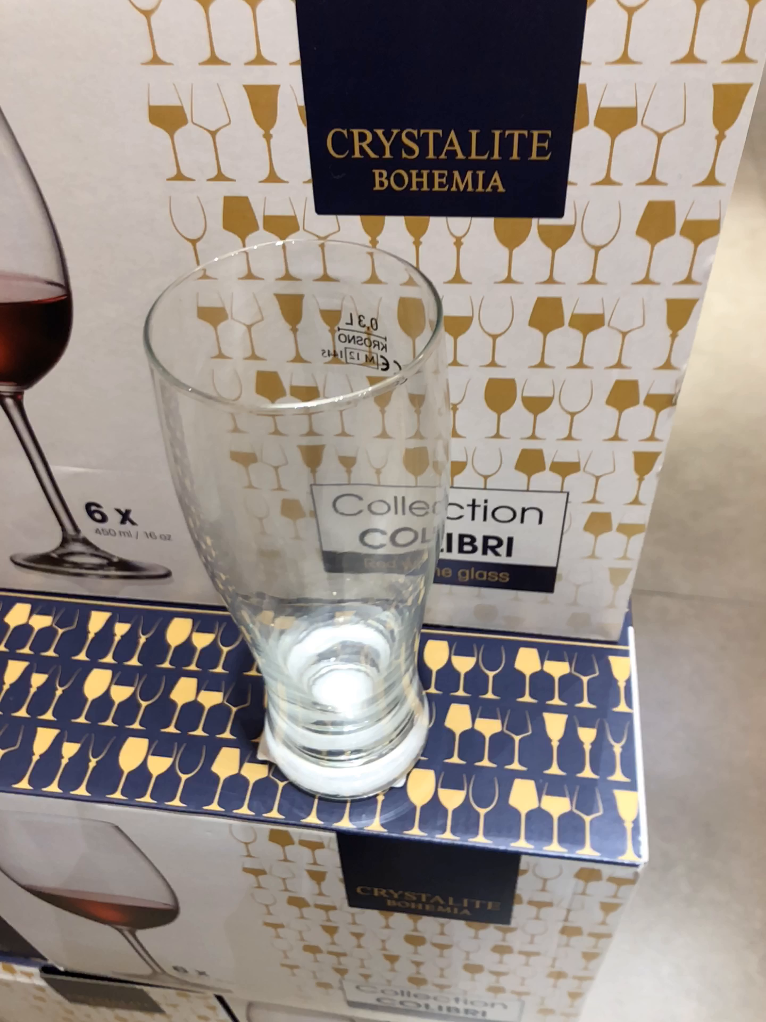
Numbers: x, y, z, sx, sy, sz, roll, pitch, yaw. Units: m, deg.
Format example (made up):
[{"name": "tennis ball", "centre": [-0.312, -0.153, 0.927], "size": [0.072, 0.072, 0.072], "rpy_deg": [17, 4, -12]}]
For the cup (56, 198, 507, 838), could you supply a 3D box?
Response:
[{"name": "cup", "centre": [-0.013, 0.013, 0.256], "size": [0.080, 0.179, 0.081], "rpy_deg": [-2, 46, 2]}]
